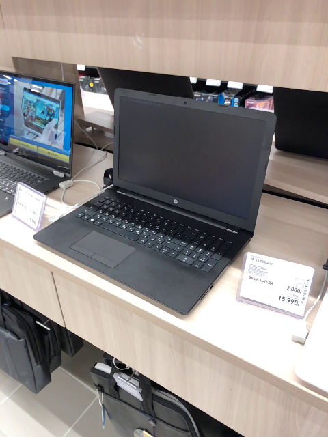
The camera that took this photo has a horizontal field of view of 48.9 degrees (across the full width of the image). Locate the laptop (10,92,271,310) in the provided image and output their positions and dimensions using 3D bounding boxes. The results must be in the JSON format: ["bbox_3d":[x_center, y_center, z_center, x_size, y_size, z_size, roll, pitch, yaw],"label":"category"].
[{"bbox_3d":[-0.037,-0.075,0.693,0.358,0.222,0.298,20,39,31],"label":"laptop"}]
